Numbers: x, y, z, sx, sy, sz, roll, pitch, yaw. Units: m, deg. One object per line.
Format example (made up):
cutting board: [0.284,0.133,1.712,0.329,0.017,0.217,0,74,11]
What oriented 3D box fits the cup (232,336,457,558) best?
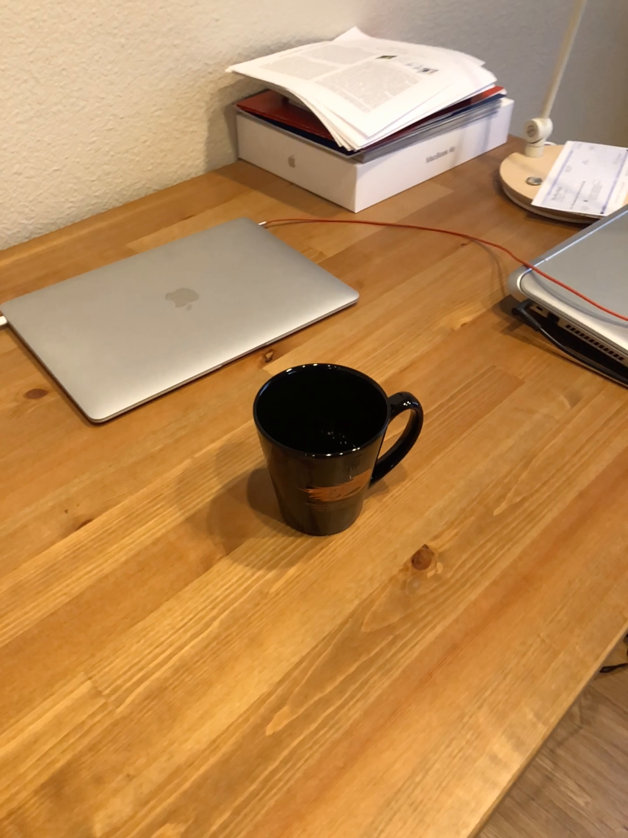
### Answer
cup: [0.017,0.017,0.477,0.120,0.090,0.090,-13,44,-14]
